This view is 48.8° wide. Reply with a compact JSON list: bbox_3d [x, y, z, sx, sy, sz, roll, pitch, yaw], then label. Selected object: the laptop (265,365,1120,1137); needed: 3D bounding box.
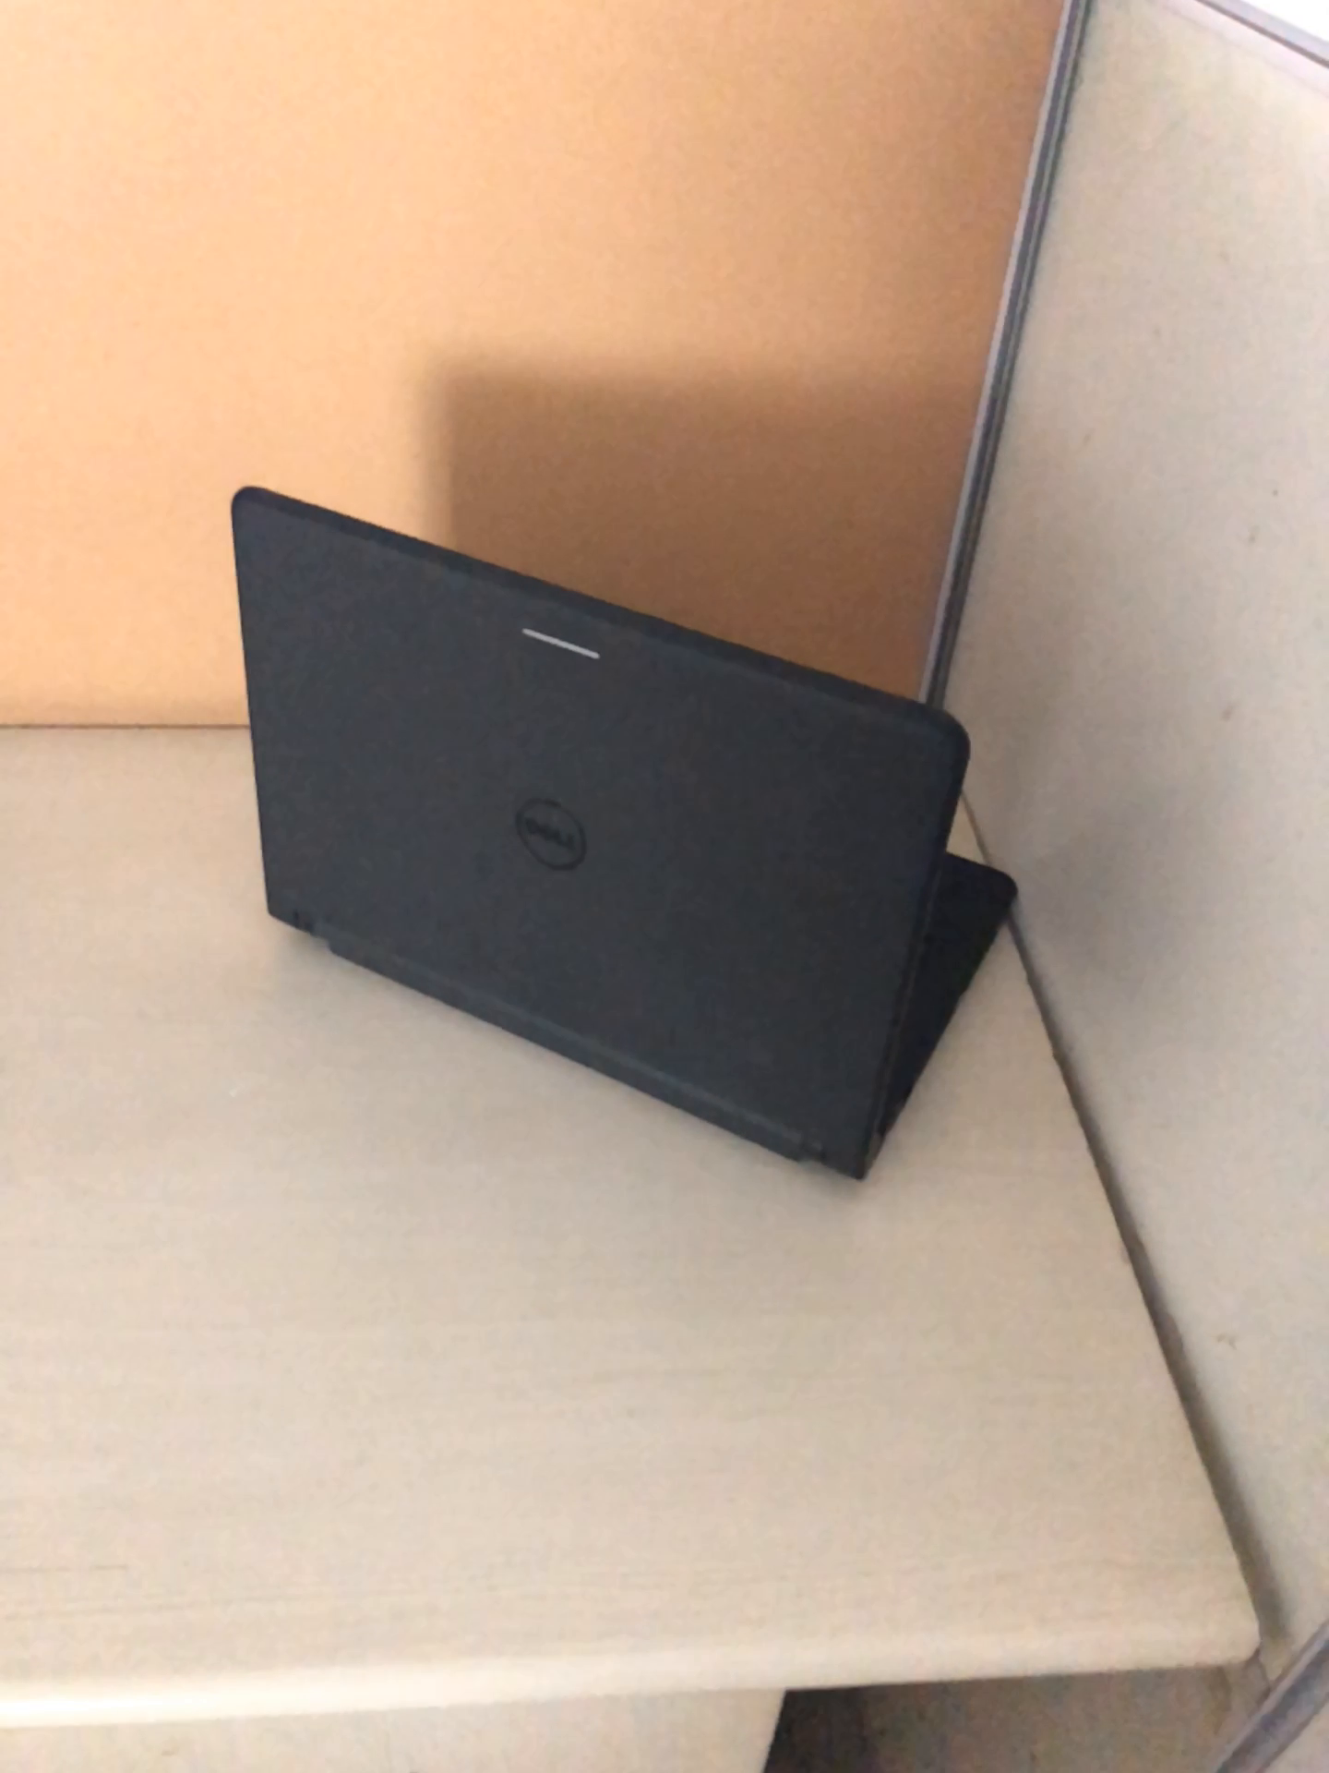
[{"bbox_3d":[0.014,-0.080,0.701,0.304,0.211,0.215,22,42,19],"label":"laptop"}]
